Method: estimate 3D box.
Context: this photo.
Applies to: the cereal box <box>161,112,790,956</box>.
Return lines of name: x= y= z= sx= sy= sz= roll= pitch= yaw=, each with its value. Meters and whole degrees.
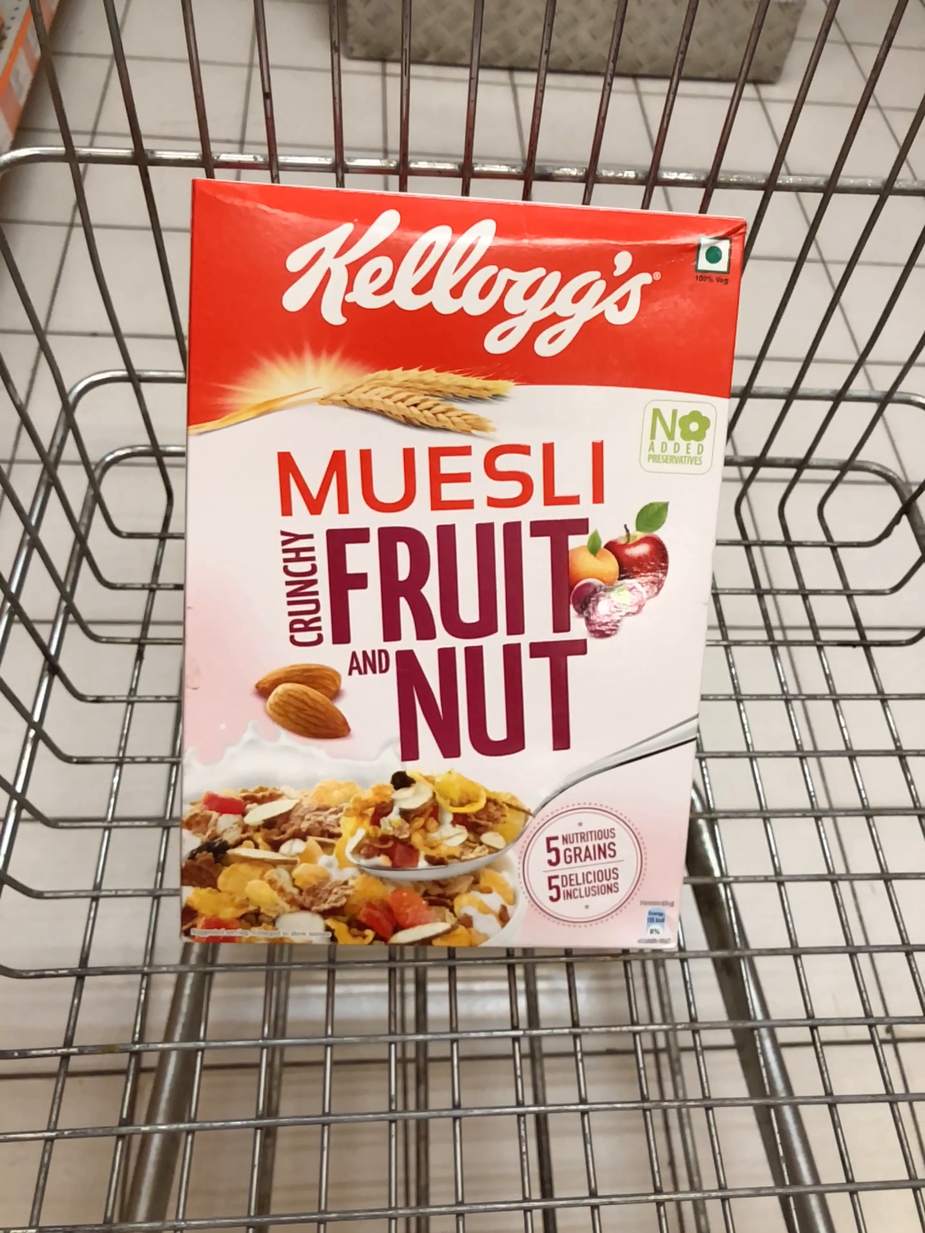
cereal box: x=-0.003 y=-0.021 z=0.375 sx=0.190 sy=0.070 sz=0.269 roll=3 pitch=101 yaw=-5
